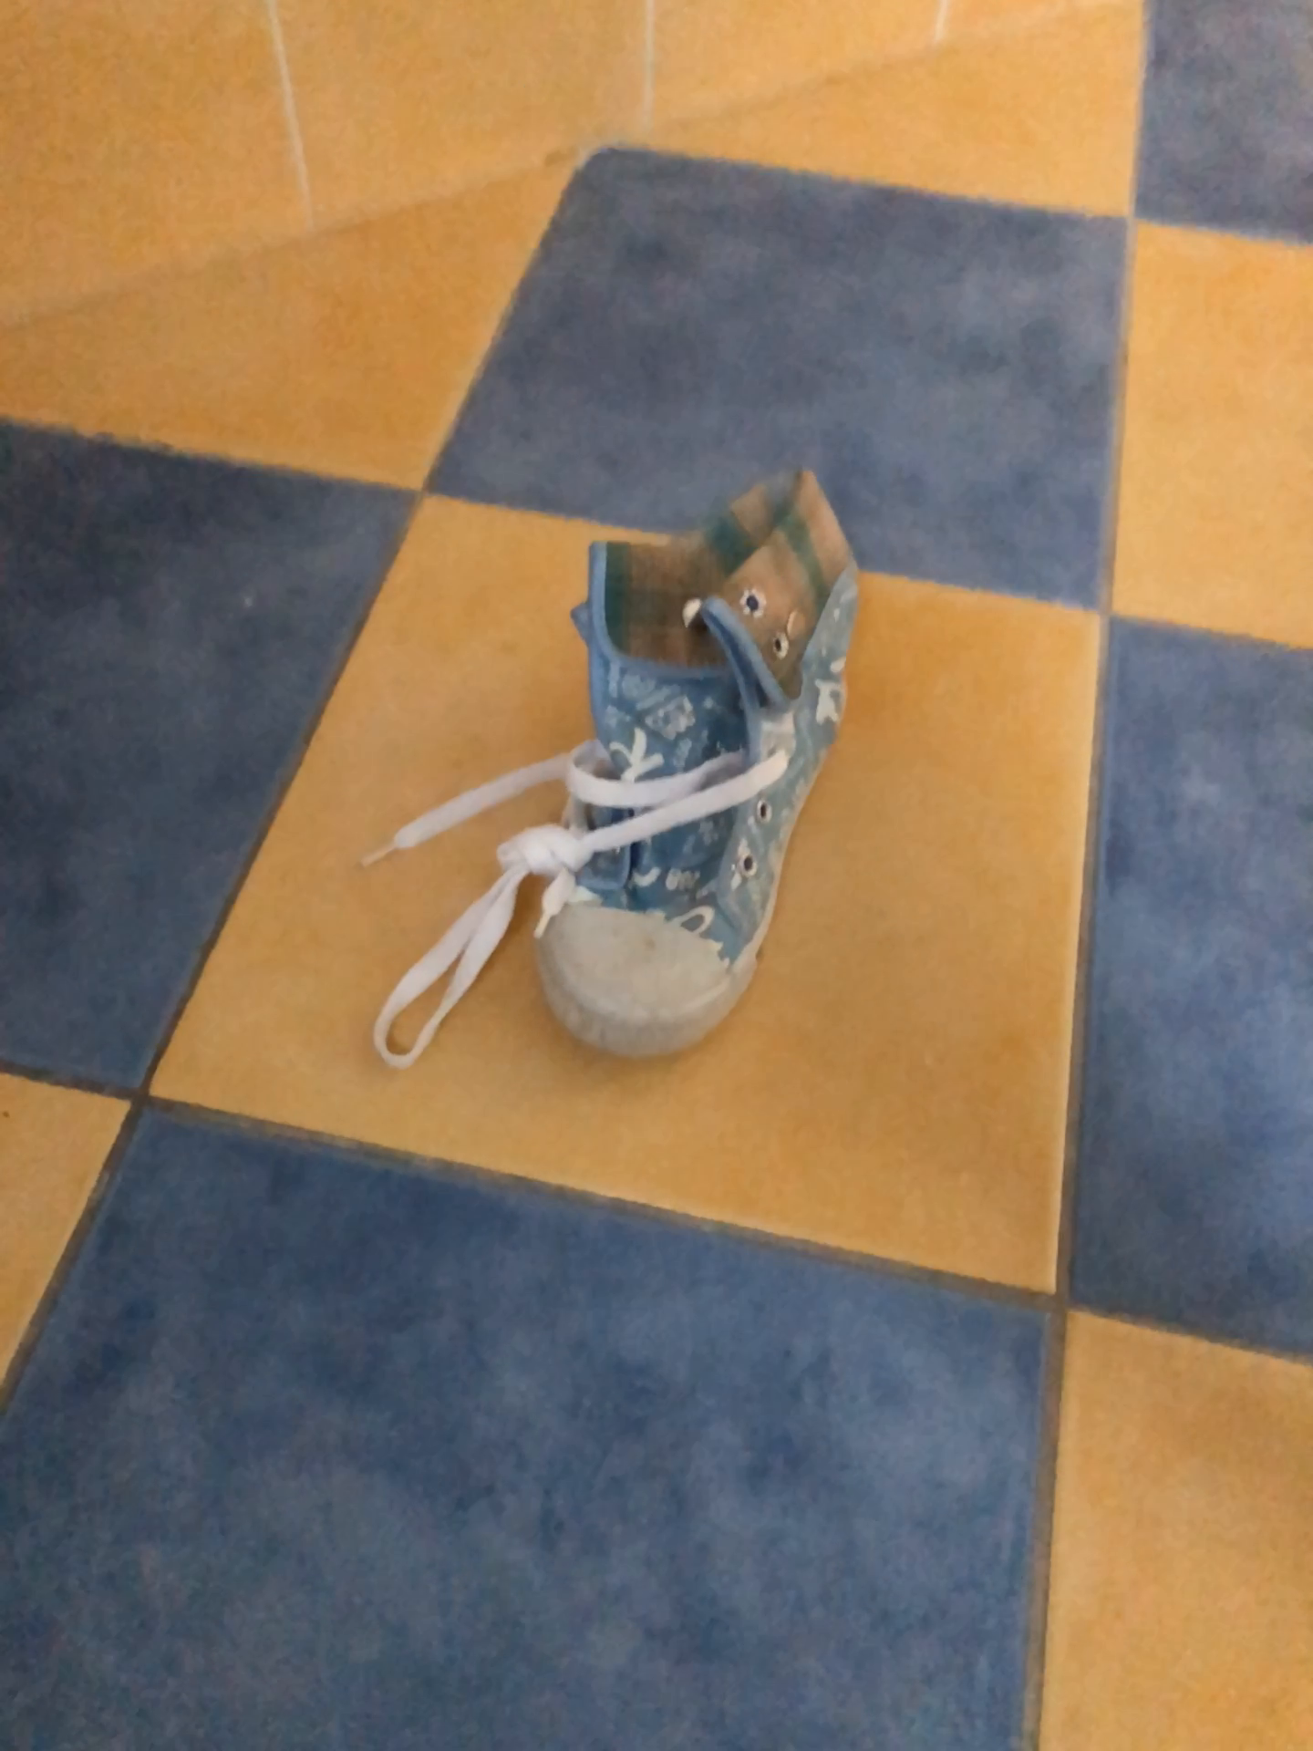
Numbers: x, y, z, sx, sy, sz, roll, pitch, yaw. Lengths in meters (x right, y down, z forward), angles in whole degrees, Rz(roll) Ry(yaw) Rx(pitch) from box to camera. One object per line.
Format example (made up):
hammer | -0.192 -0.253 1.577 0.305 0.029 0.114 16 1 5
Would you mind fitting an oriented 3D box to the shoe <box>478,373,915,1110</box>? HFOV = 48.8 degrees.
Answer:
shoe | 0.018 -0.047 0.476 0.080 0.119 0.201 14 56 8
